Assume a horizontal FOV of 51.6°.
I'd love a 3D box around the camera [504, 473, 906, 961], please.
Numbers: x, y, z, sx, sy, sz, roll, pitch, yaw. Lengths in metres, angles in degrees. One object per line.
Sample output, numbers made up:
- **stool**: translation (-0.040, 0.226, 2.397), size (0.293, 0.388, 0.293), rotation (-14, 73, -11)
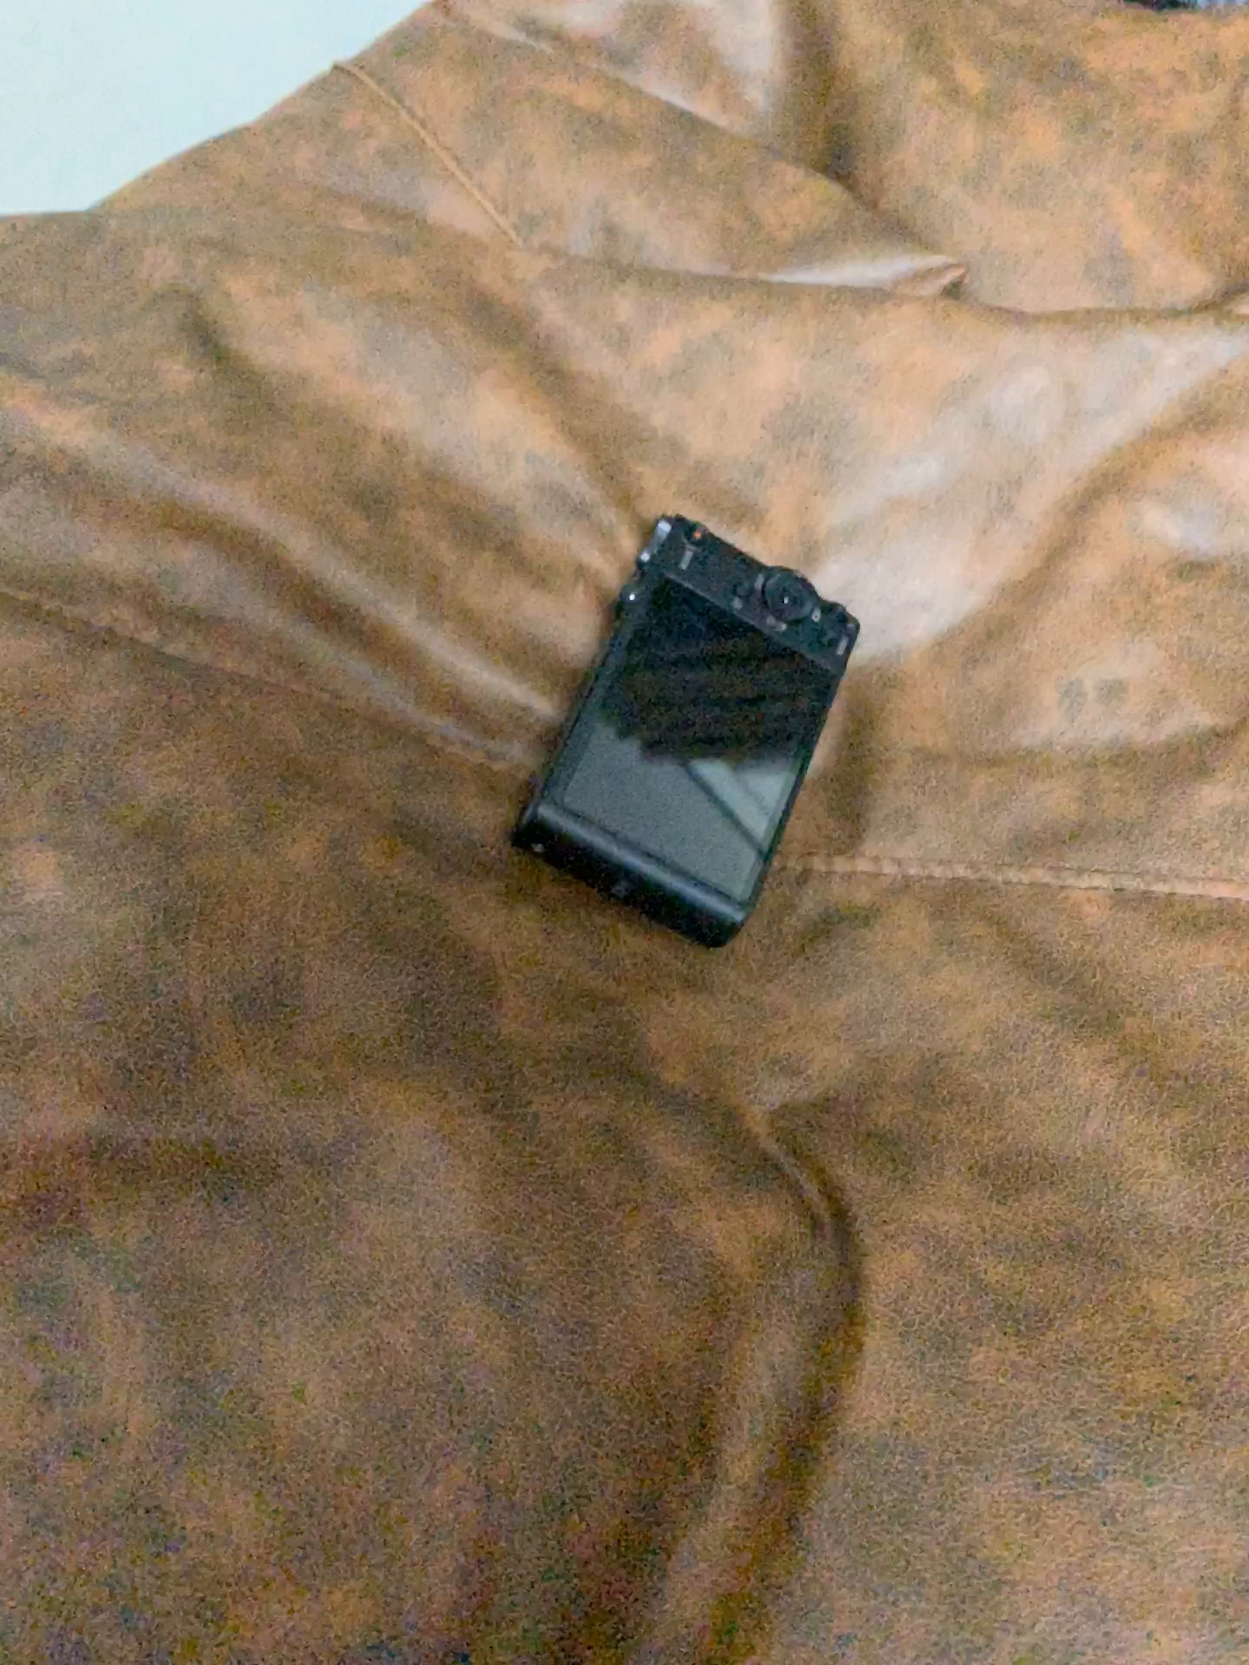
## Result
- **camera**: translation (0.021, -0.029, 0.305), size (0.060, 0.024, 0.100), rotation (25, 64, -2)
